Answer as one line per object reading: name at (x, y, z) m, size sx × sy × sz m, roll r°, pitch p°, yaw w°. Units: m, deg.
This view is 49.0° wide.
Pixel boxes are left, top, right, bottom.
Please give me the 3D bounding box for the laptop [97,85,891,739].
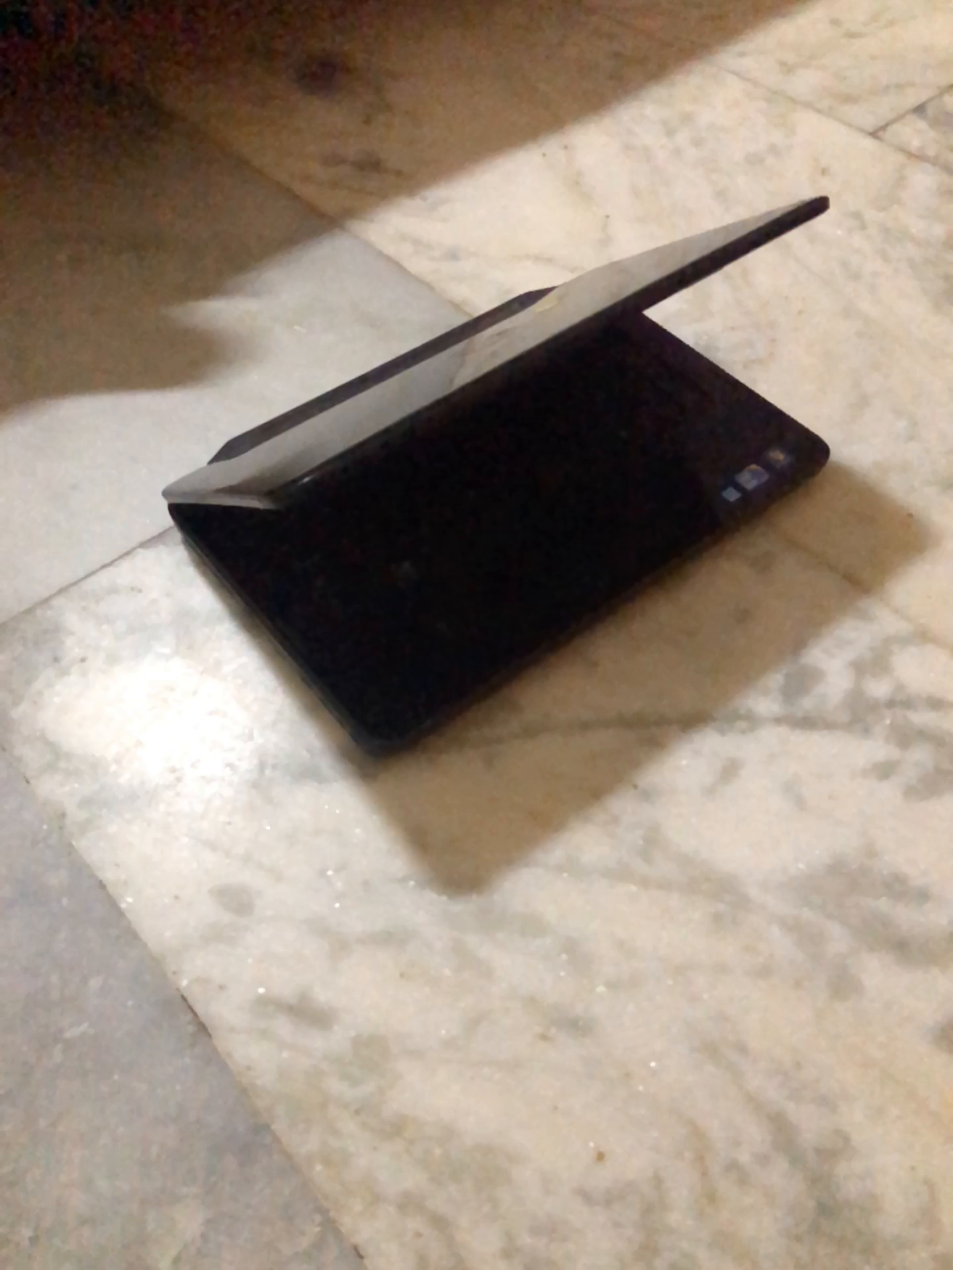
laptop at (0.015, -0.151, 0.613) m, size 0.351 × 0.161 × 0.234 m, roll -33°, pitch 58°, yaw -23°
